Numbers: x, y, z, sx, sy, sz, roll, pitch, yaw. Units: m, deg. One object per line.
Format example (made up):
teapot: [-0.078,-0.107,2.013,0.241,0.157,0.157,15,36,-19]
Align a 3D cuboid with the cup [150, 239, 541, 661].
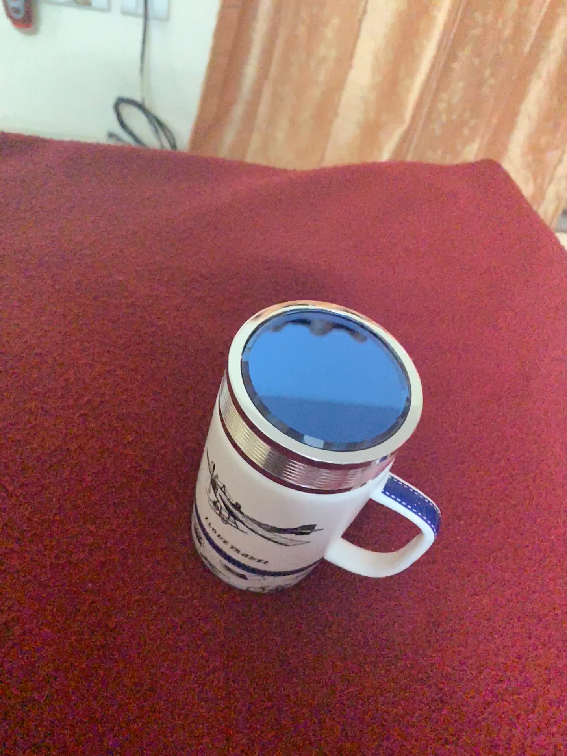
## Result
cup: [0.017,0.039,0.275,0.120,0.139,0.091,31,52,10]
